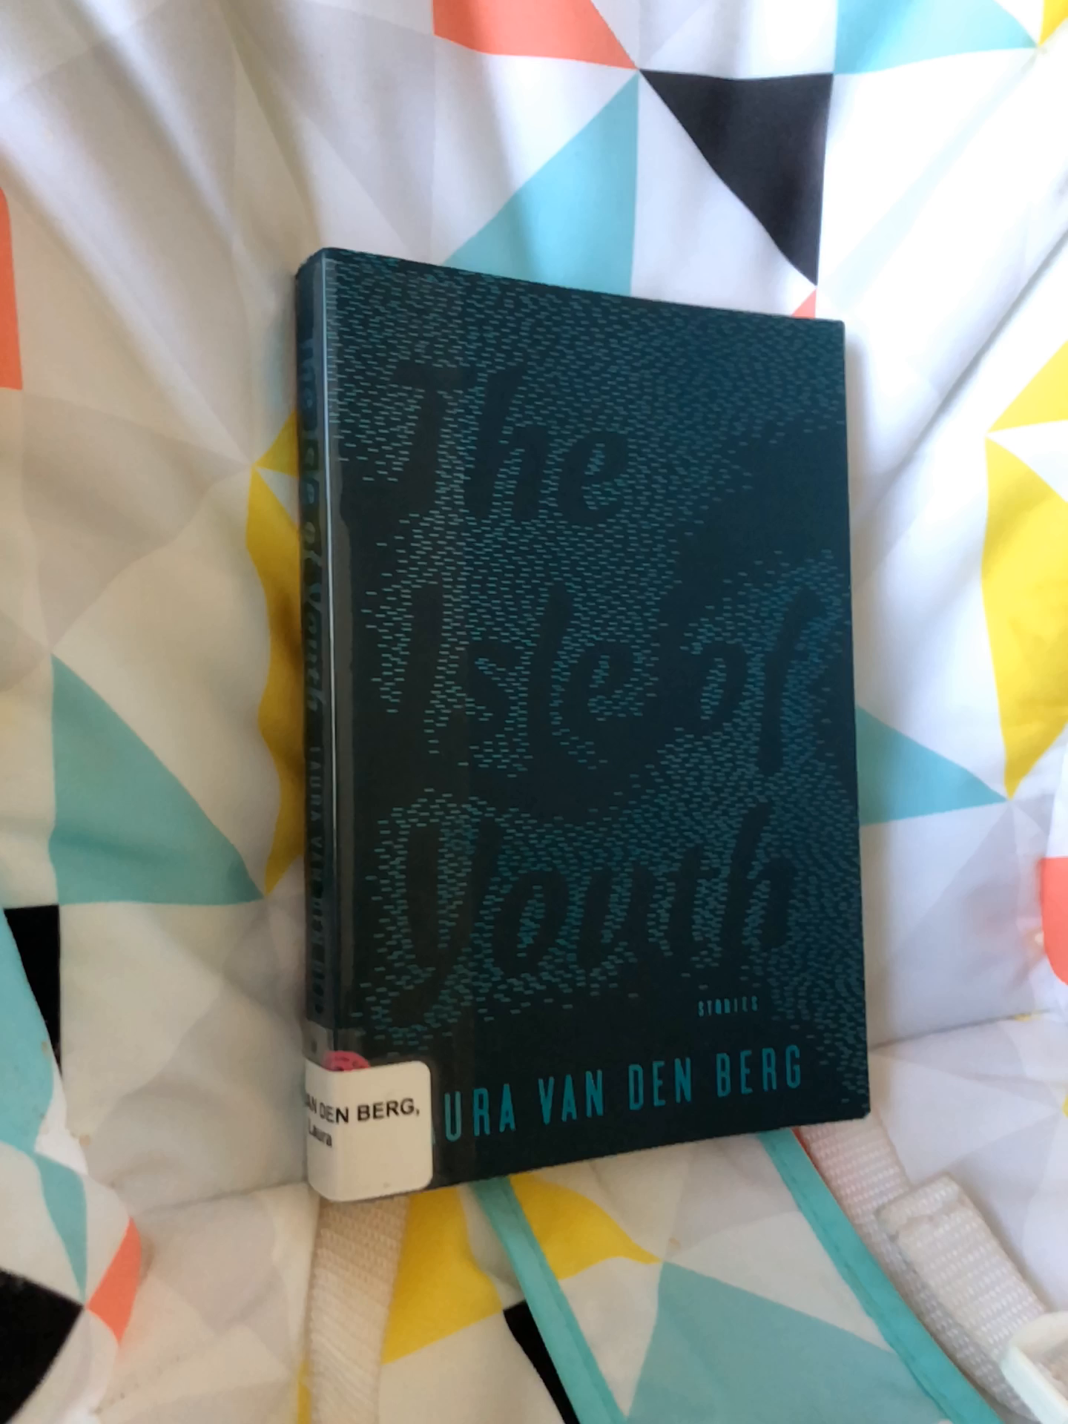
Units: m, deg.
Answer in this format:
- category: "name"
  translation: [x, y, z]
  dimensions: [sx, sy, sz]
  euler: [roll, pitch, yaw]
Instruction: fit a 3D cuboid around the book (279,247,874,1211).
- category: "book"
  translation: [0.012, 0.002, 0.261]
  dimensions: [0.124, 0.032, 0.180]
  euler: [-1, 90, -23]
